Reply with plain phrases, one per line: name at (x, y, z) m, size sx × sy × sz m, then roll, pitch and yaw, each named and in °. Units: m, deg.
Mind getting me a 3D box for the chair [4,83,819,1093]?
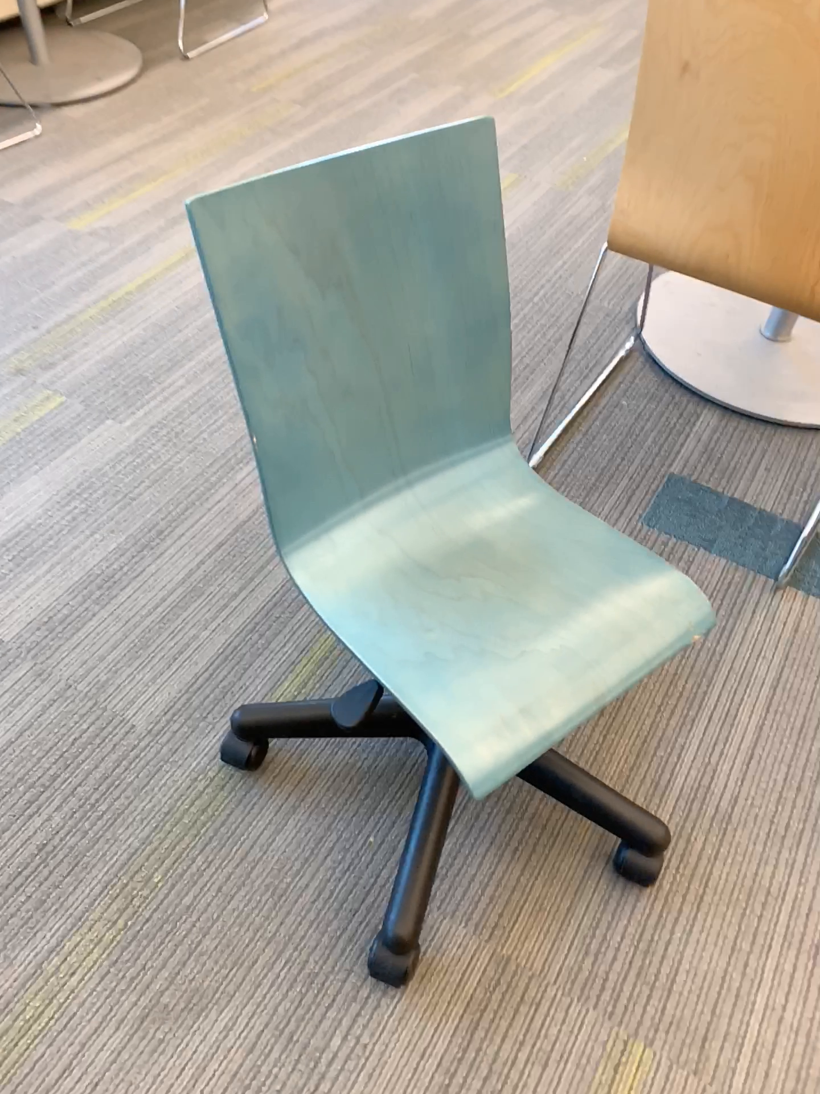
chair at (0.094, 0.030, 0.877) m, size 0.601 × 0.667 × 0.612 m, roll -30°, pitch 57°, yaw -27°
